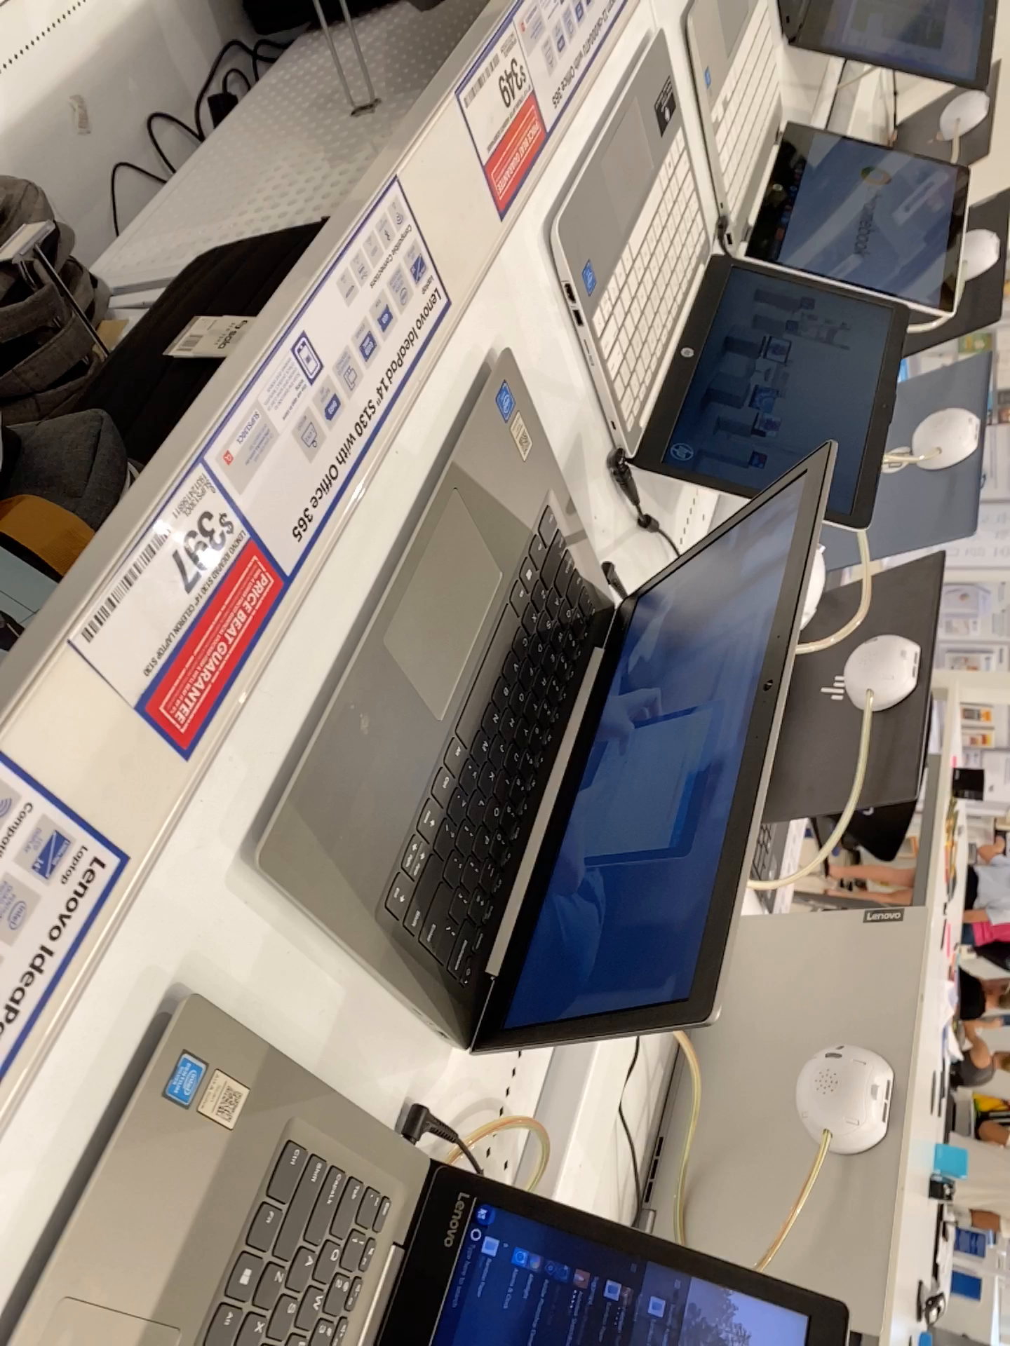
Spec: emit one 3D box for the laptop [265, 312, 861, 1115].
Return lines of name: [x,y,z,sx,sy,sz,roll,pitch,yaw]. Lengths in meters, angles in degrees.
laptop: [0.068,0.017,0.557,0.231,0.170,0.330,60,42,-46]

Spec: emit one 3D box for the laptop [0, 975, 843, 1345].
laptop: [-0.024,0.353,0.378,0.310,0.215,0.330,62,40,-46]

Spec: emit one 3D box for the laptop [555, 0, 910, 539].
laptop: [0.201,-0.307,0.795,0.285,0.155,0.305,60,41,-45]
